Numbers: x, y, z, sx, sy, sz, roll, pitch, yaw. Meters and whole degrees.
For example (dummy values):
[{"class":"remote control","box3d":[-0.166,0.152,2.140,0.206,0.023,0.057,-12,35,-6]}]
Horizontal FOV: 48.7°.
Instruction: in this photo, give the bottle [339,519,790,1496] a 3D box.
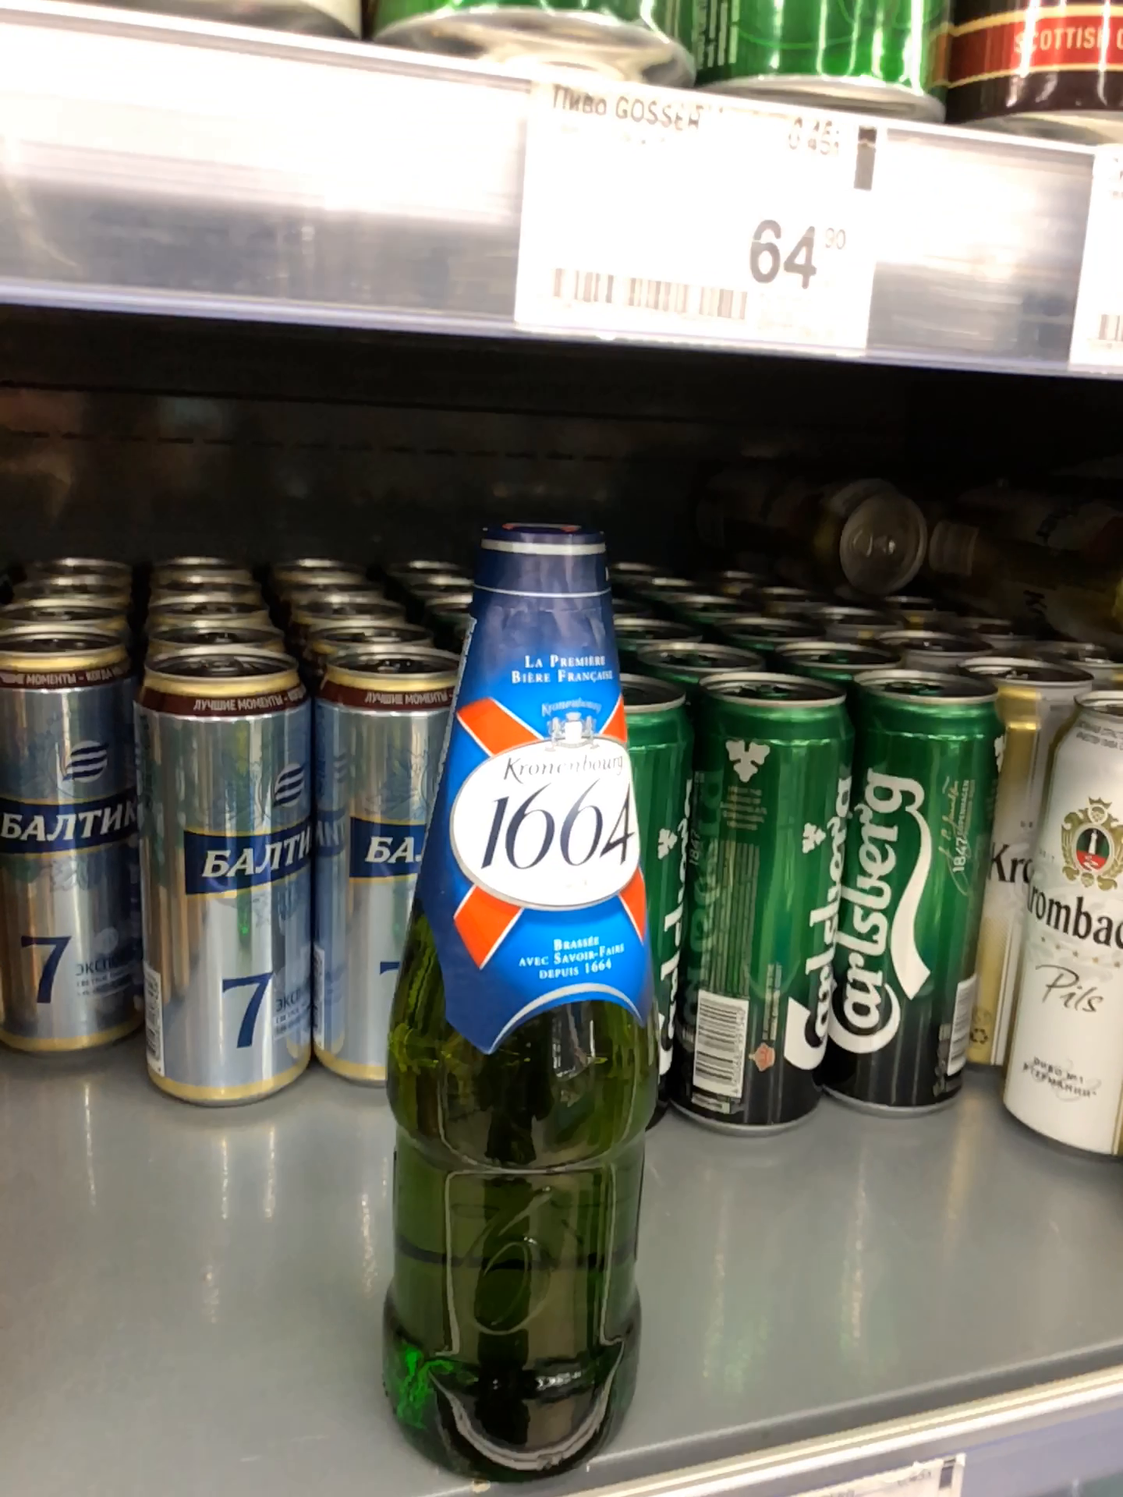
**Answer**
[{"class":"bottle","box3d":[-0.008,0.062,0.318,0.080,0.229,0.080,3,14,-1]}]
